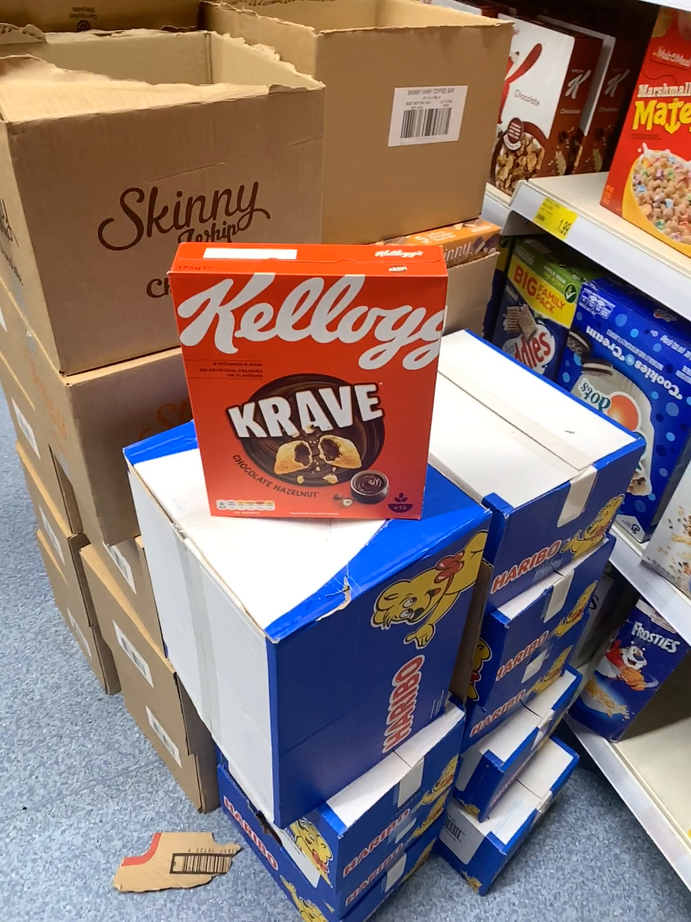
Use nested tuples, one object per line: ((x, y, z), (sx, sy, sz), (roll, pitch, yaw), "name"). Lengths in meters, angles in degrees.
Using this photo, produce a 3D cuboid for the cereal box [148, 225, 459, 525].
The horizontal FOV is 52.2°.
((-0.029, -0.055, 0.554), (0.200, 0.238, 0.061), (1, 42, 0), "cereal box")
